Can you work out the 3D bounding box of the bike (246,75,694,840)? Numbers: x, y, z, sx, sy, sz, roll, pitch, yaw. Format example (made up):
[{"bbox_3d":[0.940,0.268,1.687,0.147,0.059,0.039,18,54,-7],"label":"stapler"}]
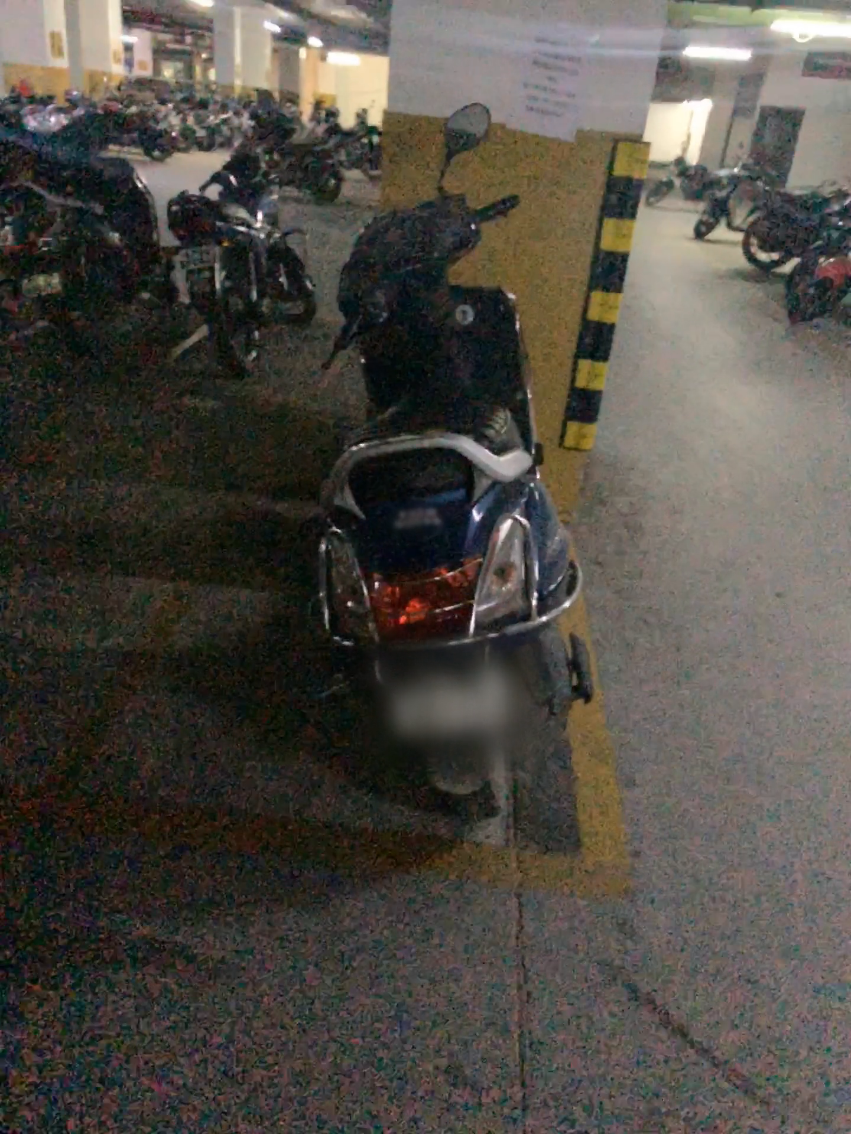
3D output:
[{"bbox_3d":[-0.044,-0.343,1.958,0.630,1.063,1.276,2,34,-8],"label":"bike"}]
